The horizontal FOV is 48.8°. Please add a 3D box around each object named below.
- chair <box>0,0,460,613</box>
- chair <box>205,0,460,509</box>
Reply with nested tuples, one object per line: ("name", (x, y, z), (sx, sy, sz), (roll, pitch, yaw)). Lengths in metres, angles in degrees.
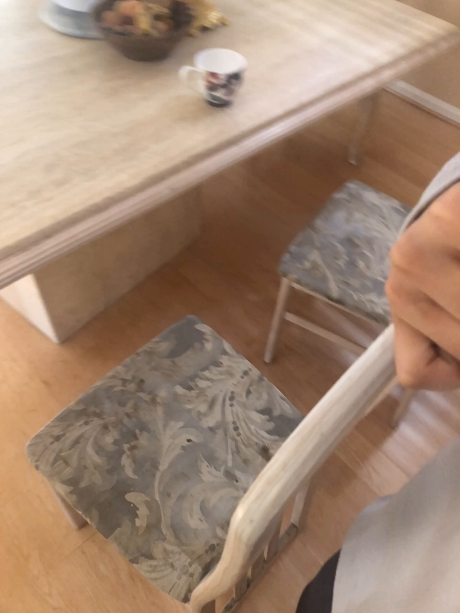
("chair", (-0.082, 0.165, 0.890), (0.561, 1.141, 0.483), (38, 59, 23))
("chair", (0.315, -0.072, 1.225), (0.561, 1.141, 0.483), (33, 57, 22))
